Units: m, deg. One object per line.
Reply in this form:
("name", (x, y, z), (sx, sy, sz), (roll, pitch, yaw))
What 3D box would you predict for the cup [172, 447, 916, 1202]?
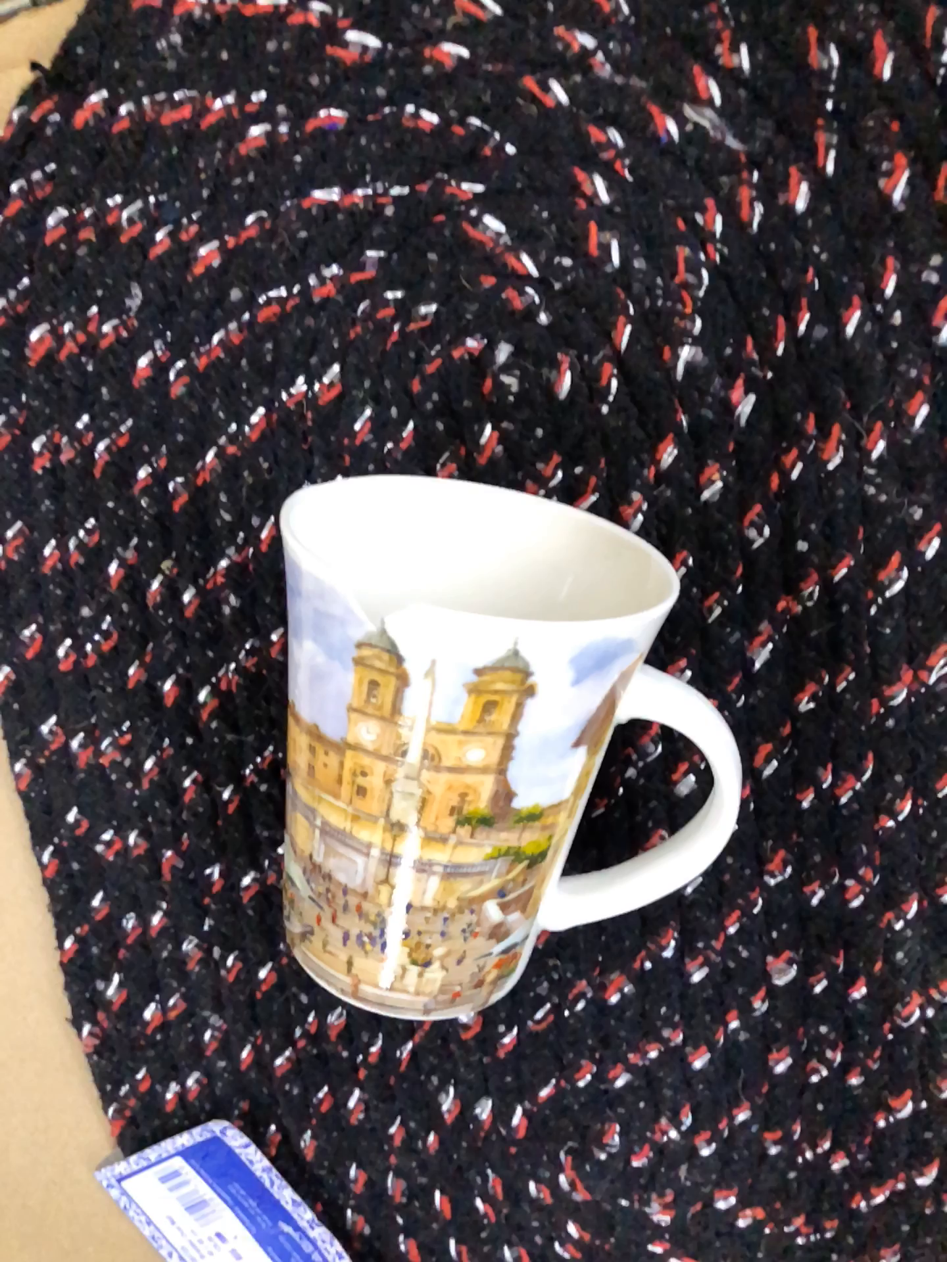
("cup", (0.008, 0.033, 0.225), (0.110, 0.090, 0.110), (2, 111, 4))
